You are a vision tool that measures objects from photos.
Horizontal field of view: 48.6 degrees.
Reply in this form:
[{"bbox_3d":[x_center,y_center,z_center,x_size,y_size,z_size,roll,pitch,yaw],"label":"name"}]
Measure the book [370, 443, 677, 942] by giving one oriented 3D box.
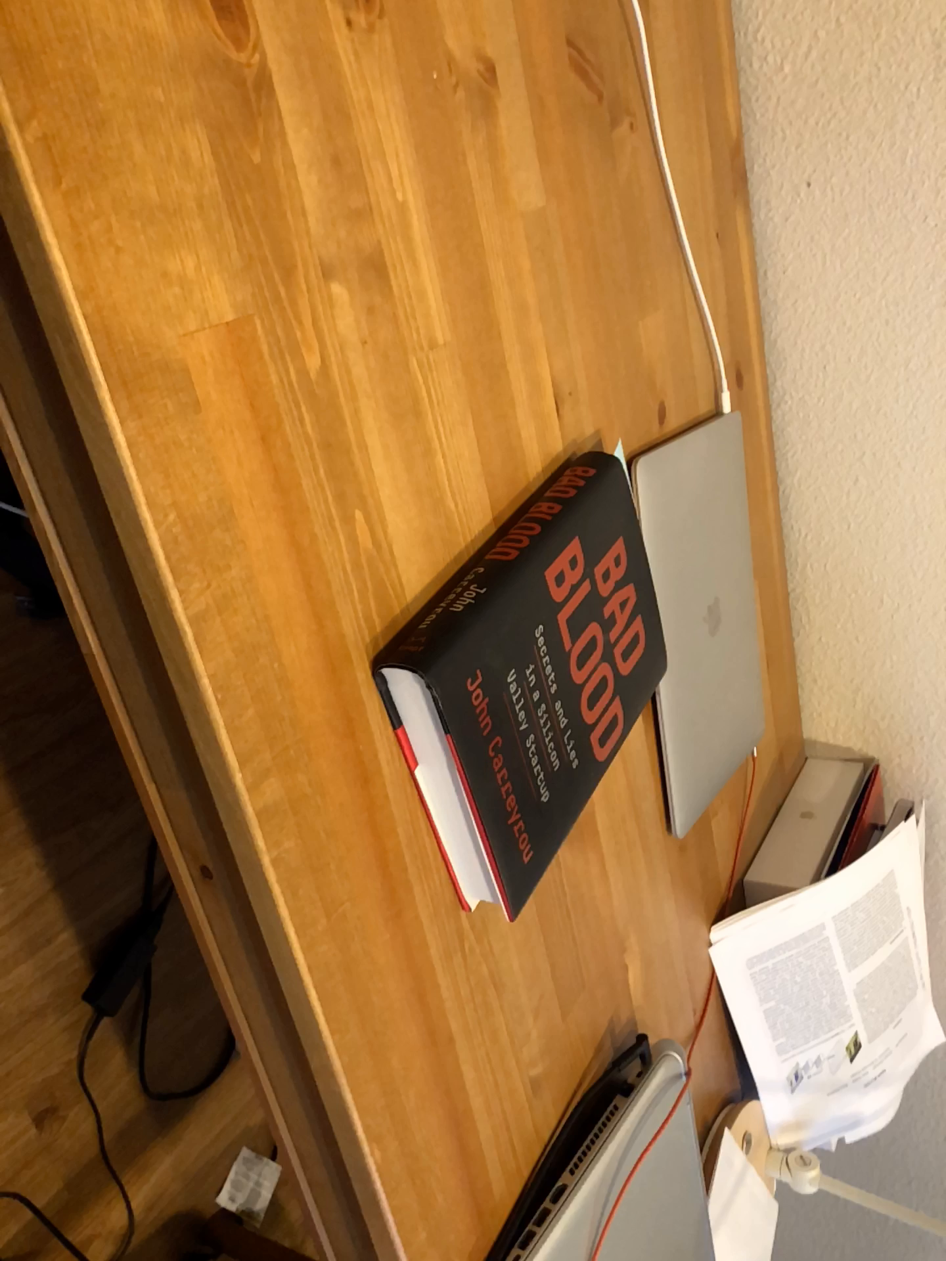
[{"bbox_3d":[0.048,0.025,0.617,0.251,0.030,0.179,-49,131,-44],"label":"book"}]
